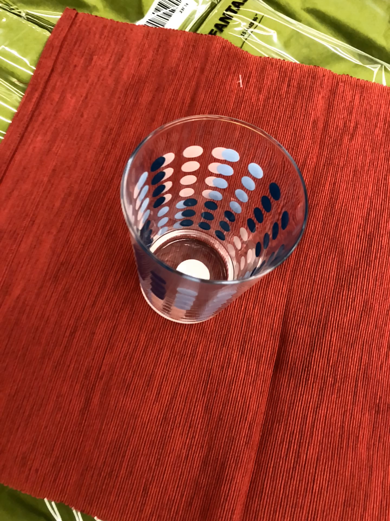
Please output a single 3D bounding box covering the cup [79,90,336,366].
[{"bbox_3d":[0.005,-0.006,0.245,0.090,0.120,0.090,2,69,-4],"label":"cup"}]
